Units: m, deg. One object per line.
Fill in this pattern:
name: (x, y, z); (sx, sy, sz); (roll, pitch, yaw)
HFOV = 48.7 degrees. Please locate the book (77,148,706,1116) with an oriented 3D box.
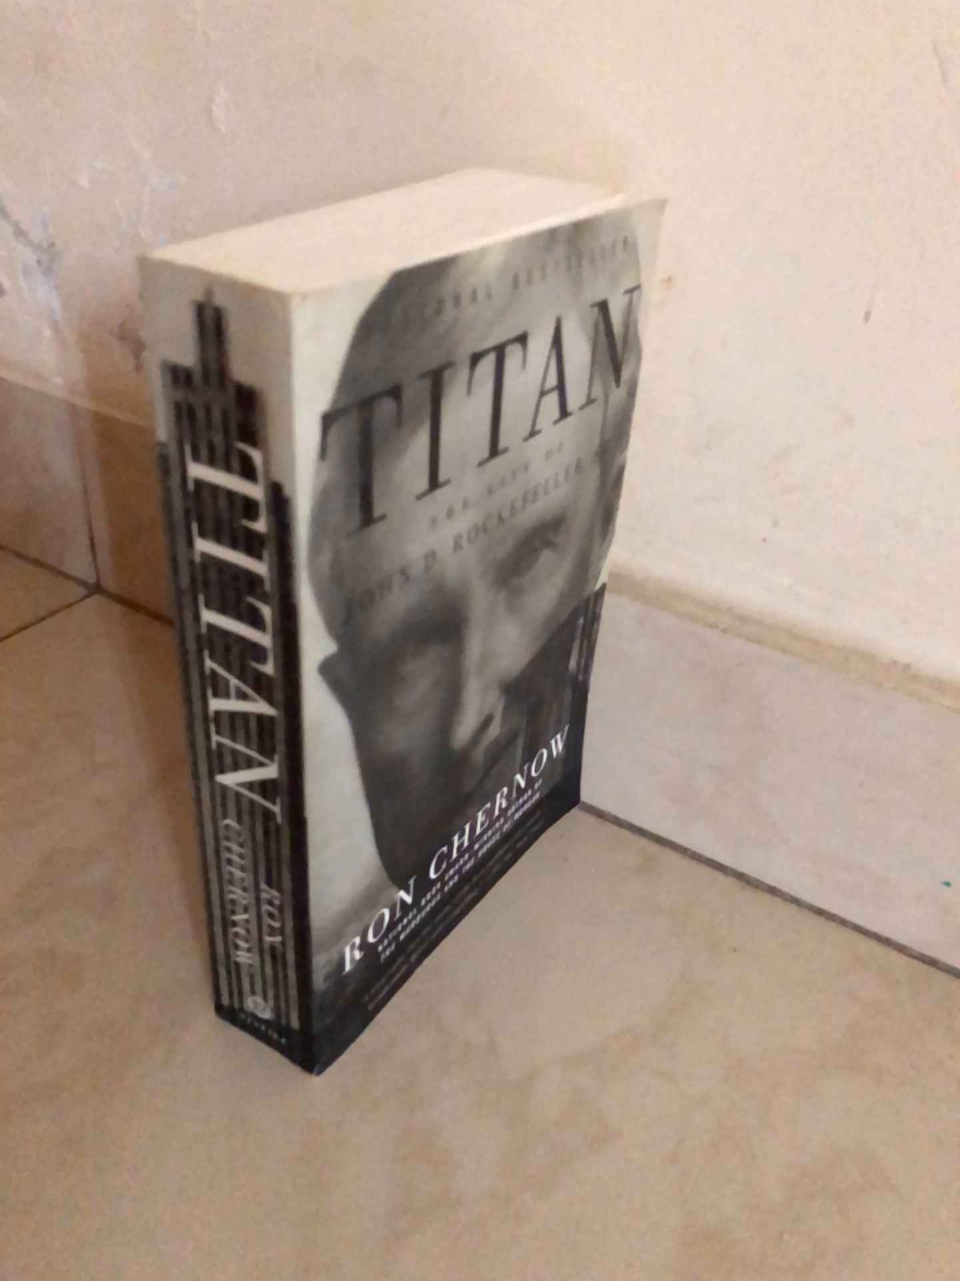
book: (-0.011, -0.015, 0.329); (0.060, 0.229, 0.201); (19, 35, 22)
